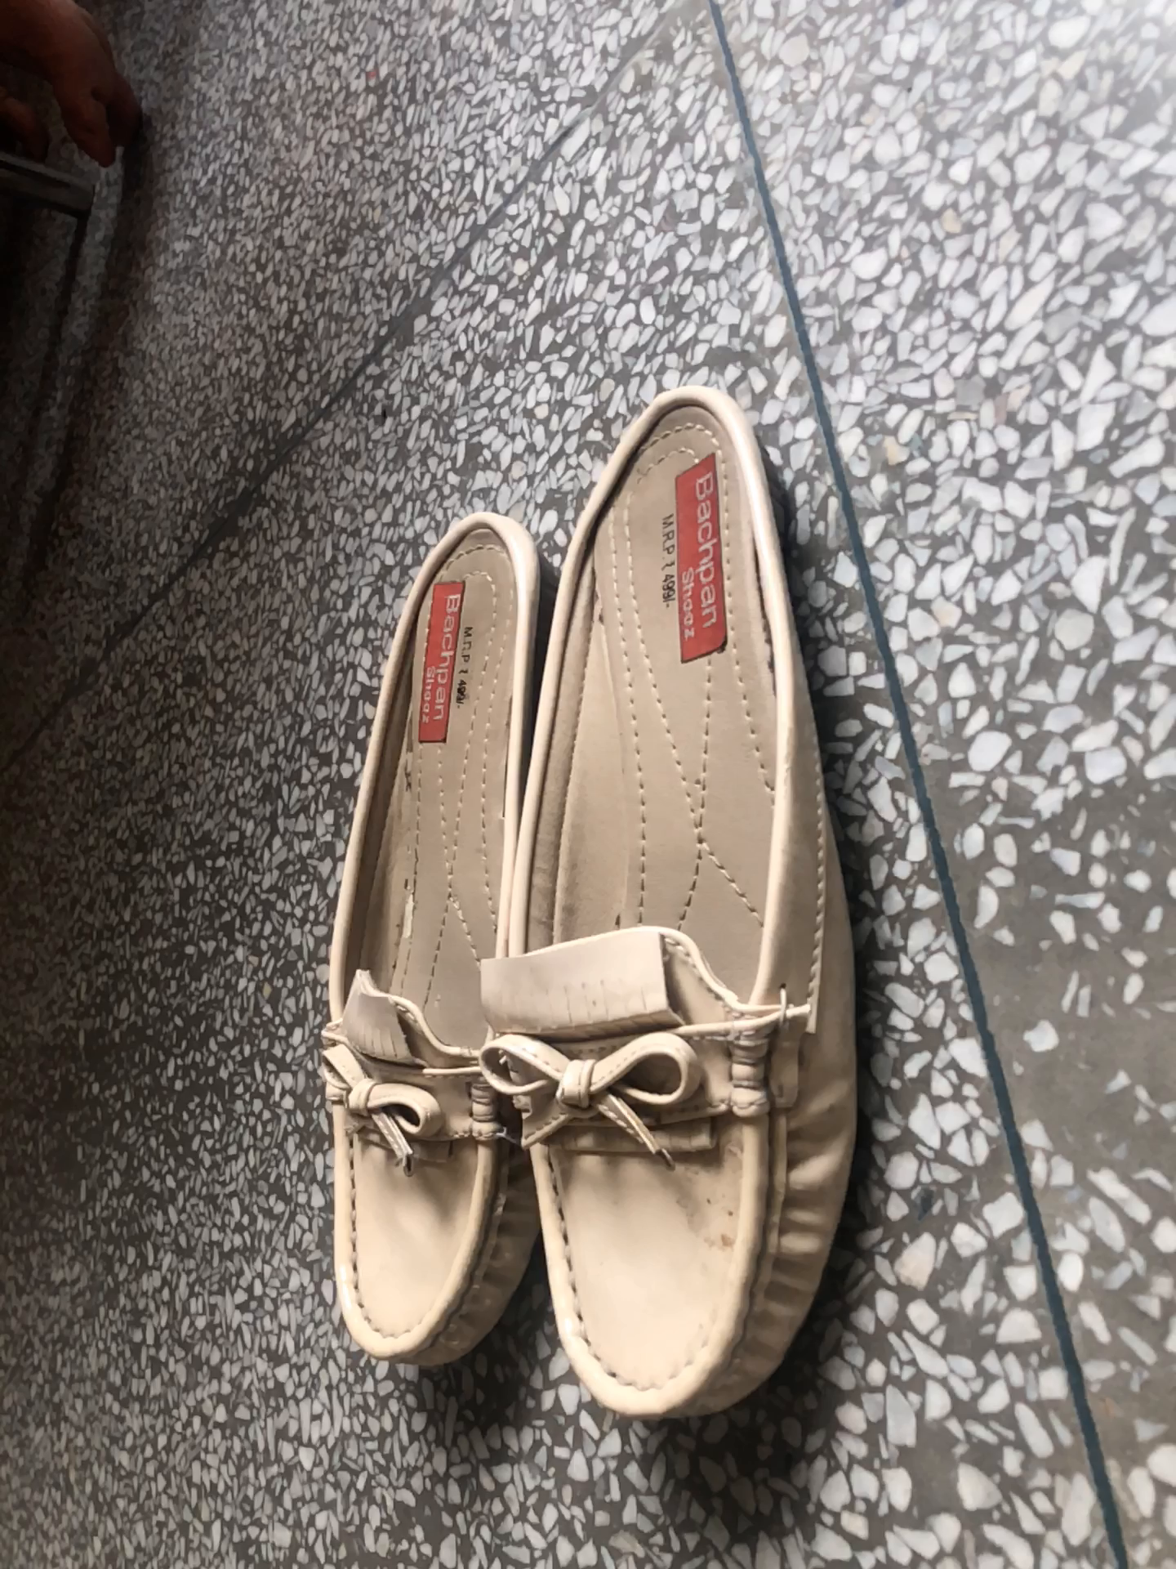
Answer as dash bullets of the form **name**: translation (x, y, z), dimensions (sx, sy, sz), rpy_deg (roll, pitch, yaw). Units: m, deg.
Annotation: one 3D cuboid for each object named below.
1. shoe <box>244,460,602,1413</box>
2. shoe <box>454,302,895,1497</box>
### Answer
- **shoe**: translation (-0.045, 0.036, 0.351), dimensions (0.091, 0.040, 0.220), rpy_deg (-8, 77, 50)
- **shoe**: translation (0.013, 0.019, 0.272), dimensions (0.081, 0.040, 0.210), rpy_deg (-14, 73, 49)
